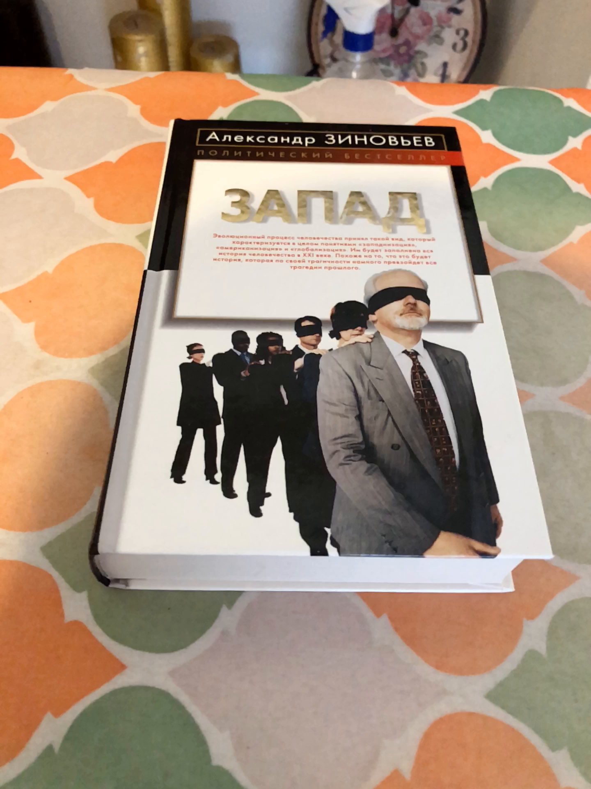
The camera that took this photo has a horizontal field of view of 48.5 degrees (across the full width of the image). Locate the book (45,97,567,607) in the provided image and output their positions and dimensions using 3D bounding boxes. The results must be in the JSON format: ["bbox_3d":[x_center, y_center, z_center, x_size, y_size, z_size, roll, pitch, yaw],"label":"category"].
[{"bbox_3d":[0.003,-0.035,0.256,0.140,0.040,0.221,1,55,-1],"label":"book"}]
